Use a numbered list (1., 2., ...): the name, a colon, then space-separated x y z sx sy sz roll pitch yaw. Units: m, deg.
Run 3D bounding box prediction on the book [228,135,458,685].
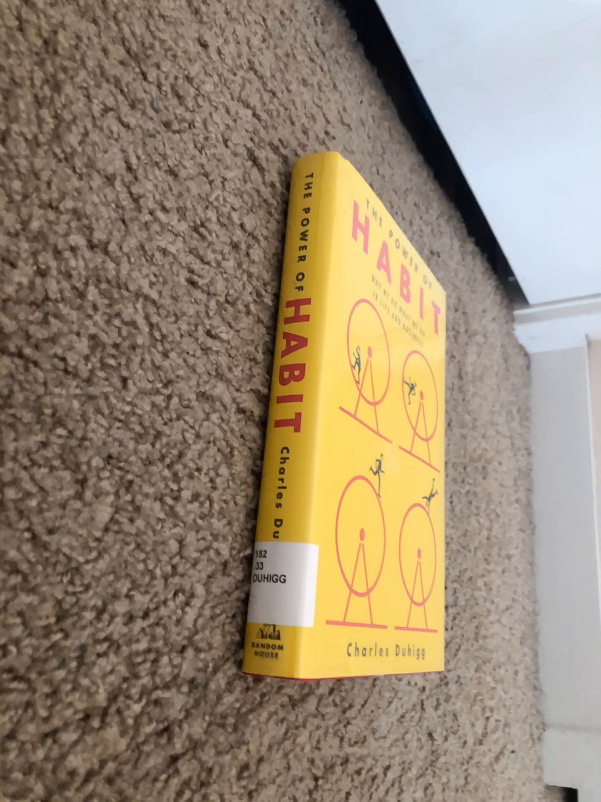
1. book: 0.040 0.015 0.365 0.165 0.040 0.251 31 58 -53
